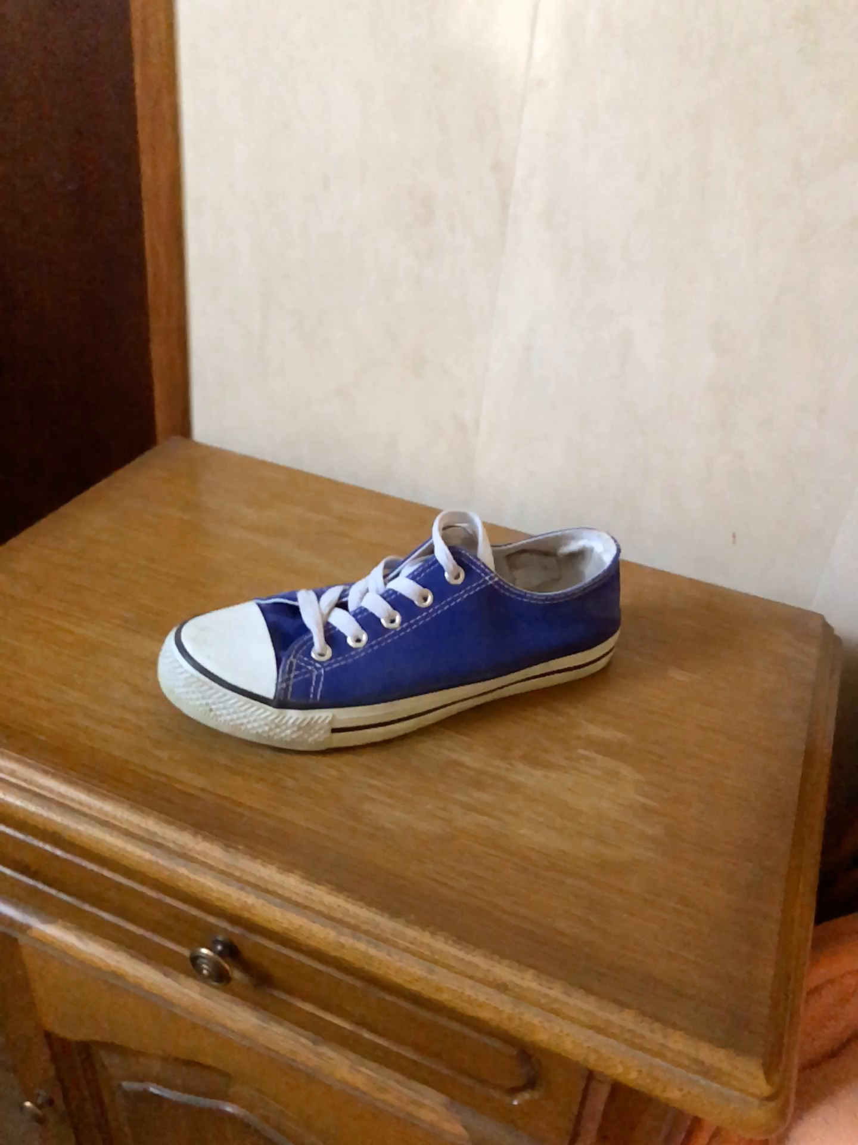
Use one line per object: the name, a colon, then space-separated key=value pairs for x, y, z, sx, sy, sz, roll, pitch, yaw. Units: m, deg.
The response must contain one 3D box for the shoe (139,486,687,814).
shoe: x=-0.007 y=0.030 z=0.498 sx=0.261 sy=0.089 sz=0.090 roll=-9 pitch=36 yaw=-23
